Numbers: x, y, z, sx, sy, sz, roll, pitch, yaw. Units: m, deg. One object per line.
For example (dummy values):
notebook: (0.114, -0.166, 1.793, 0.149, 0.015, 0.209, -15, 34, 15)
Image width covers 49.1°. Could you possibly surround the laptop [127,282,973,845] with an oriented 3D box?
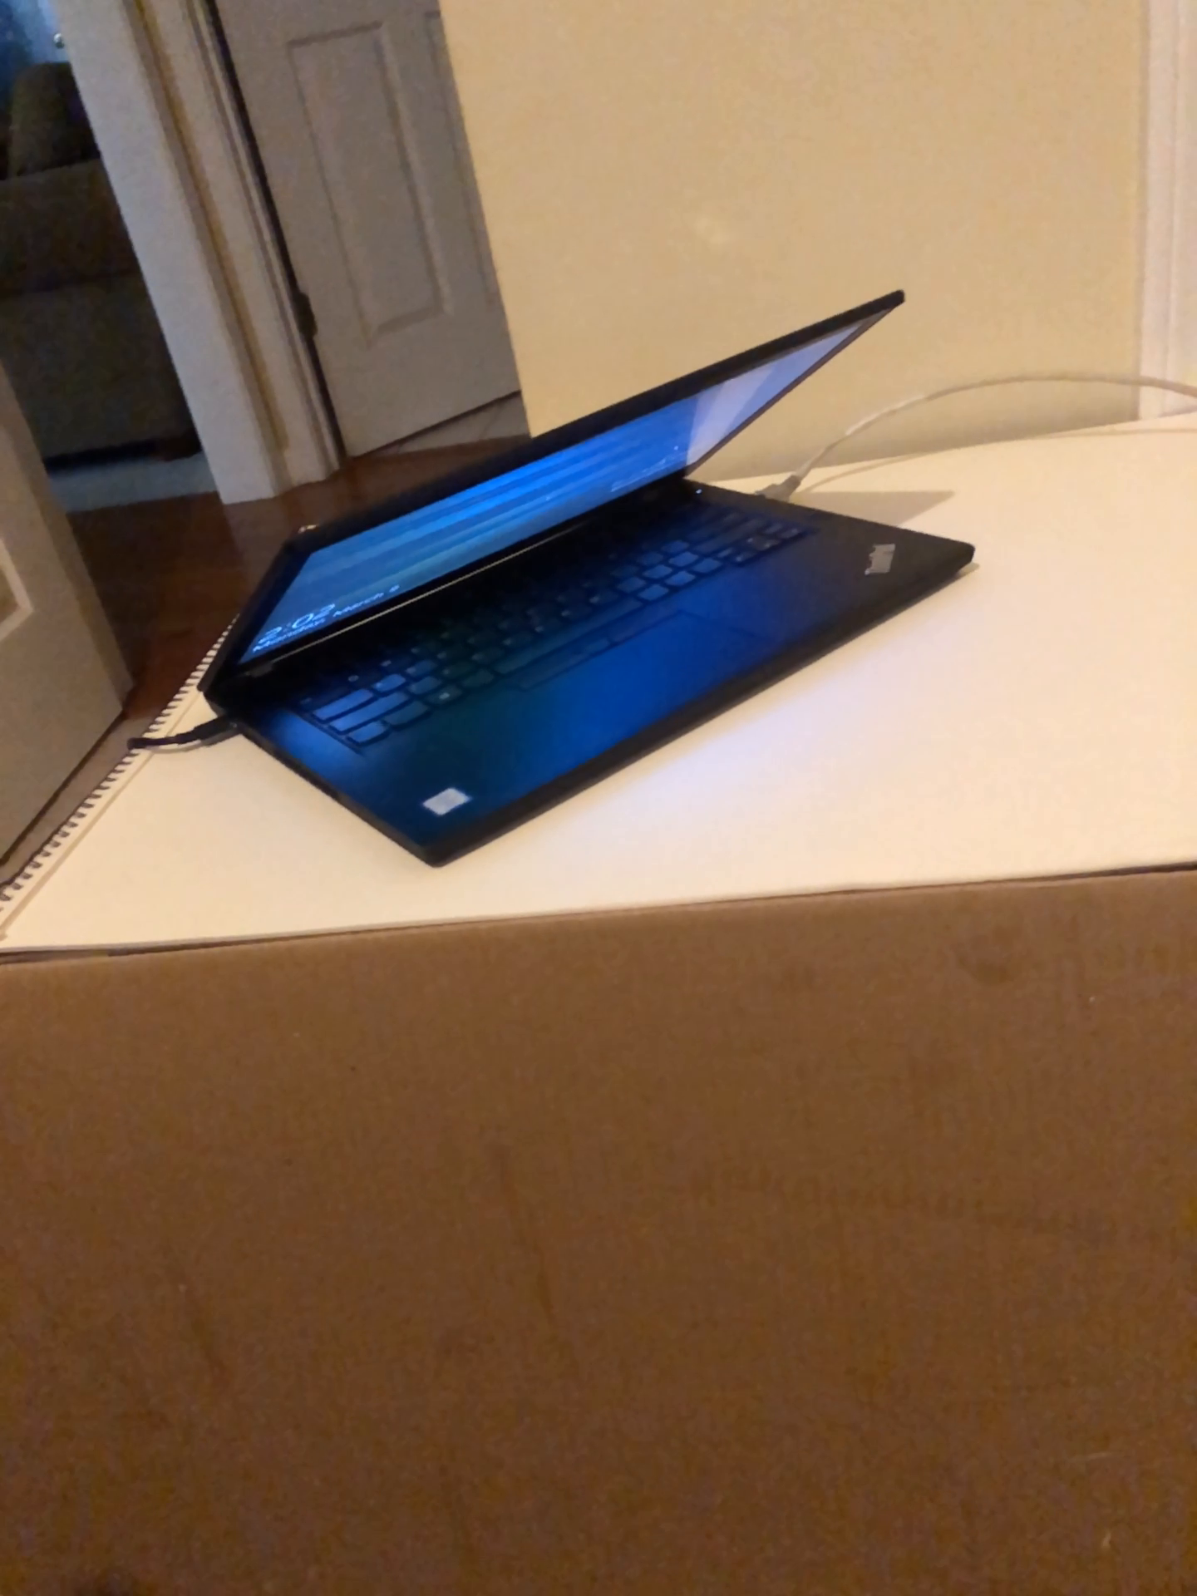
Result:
laptop: (-0.019, -0.139, 0.625, 0.317, 0.115, 0.228, -30, 34, -26)
